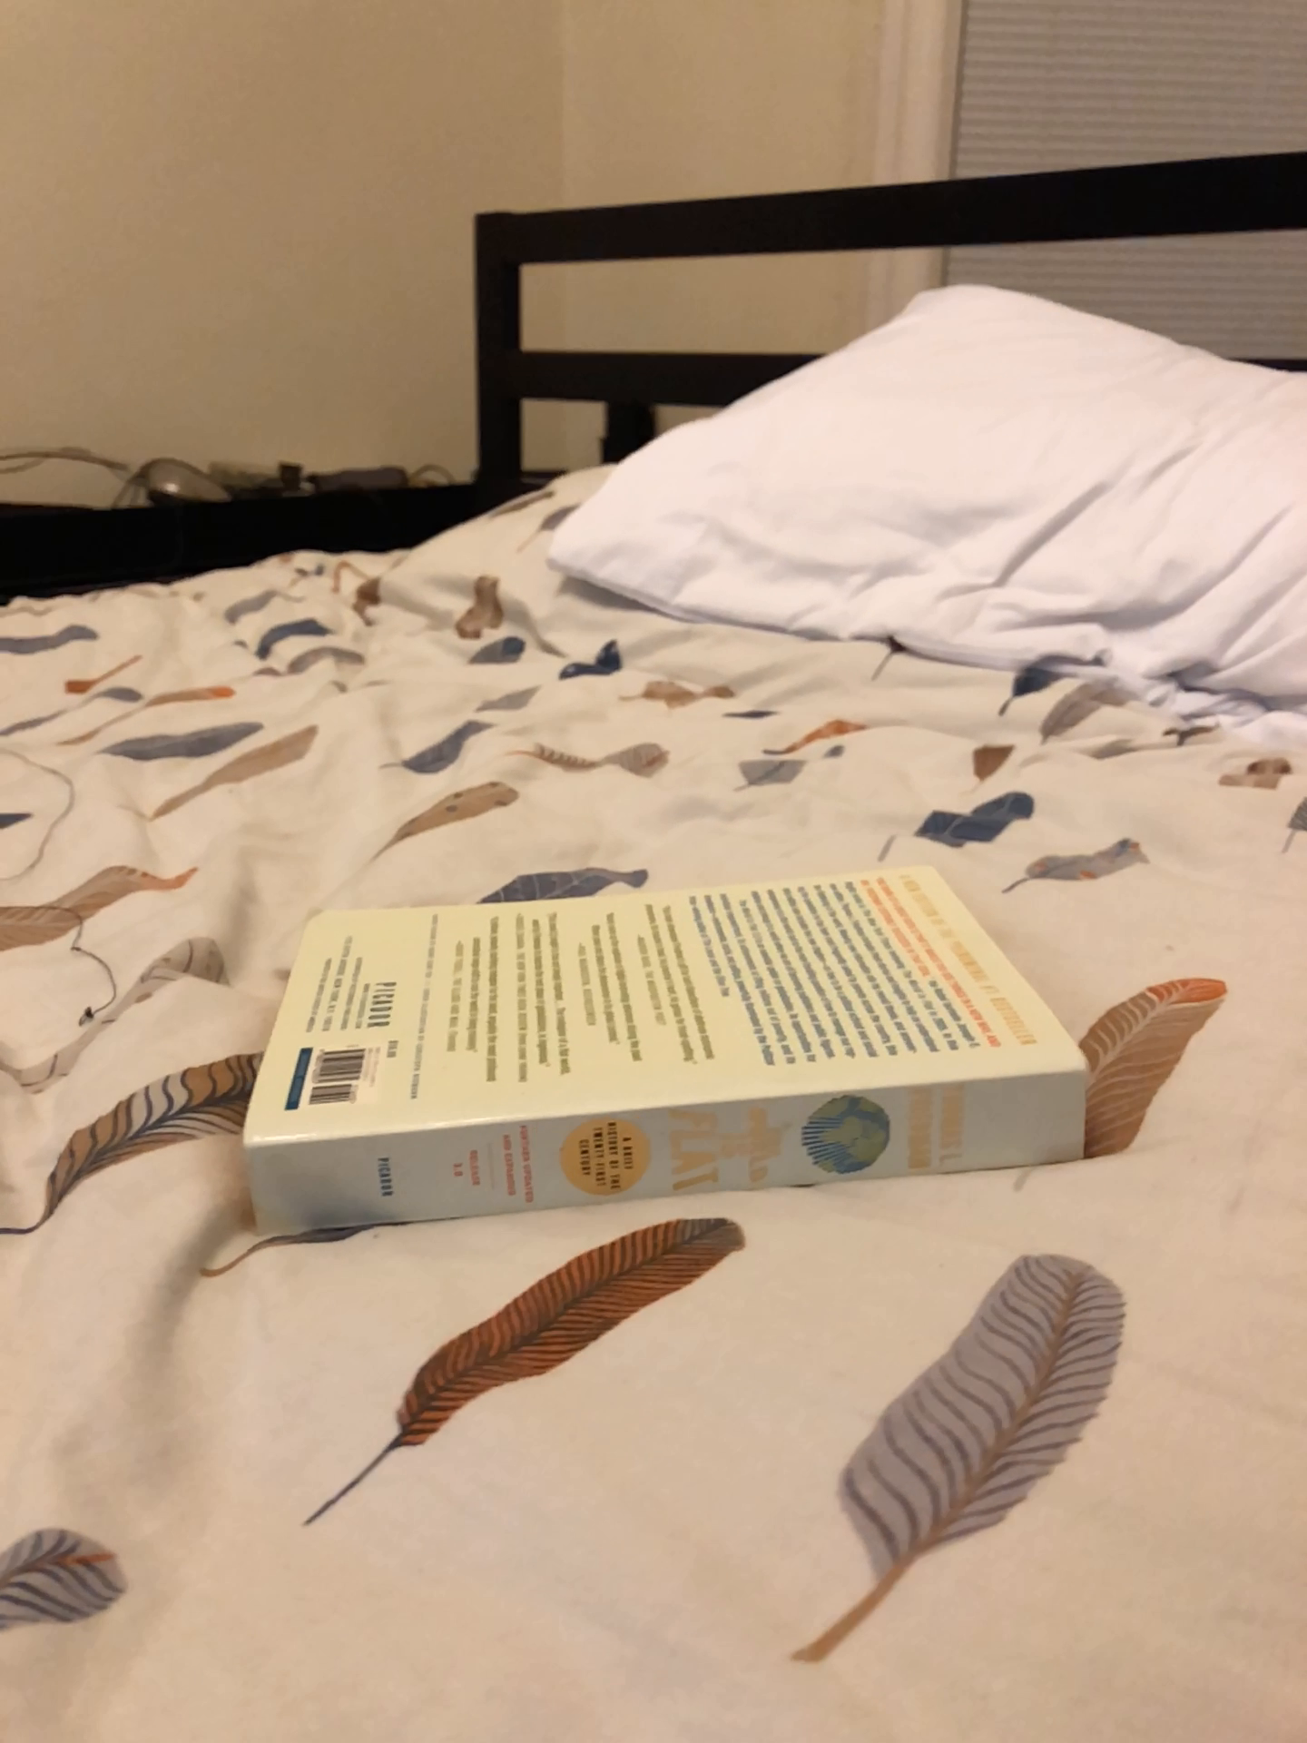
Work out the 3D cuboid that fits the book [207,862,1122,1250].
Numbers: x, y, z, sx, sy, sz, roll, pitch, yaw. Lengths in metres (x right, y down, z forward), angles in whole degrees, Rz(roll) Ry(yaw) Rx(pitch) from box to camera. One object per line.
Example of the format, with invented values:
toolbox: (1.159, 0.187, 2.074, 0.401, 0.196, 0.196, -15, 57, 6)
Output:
book: (-0.004, 0.043, 0.420, 0.220, 0.040, 0.151, -3, 16, -8)
